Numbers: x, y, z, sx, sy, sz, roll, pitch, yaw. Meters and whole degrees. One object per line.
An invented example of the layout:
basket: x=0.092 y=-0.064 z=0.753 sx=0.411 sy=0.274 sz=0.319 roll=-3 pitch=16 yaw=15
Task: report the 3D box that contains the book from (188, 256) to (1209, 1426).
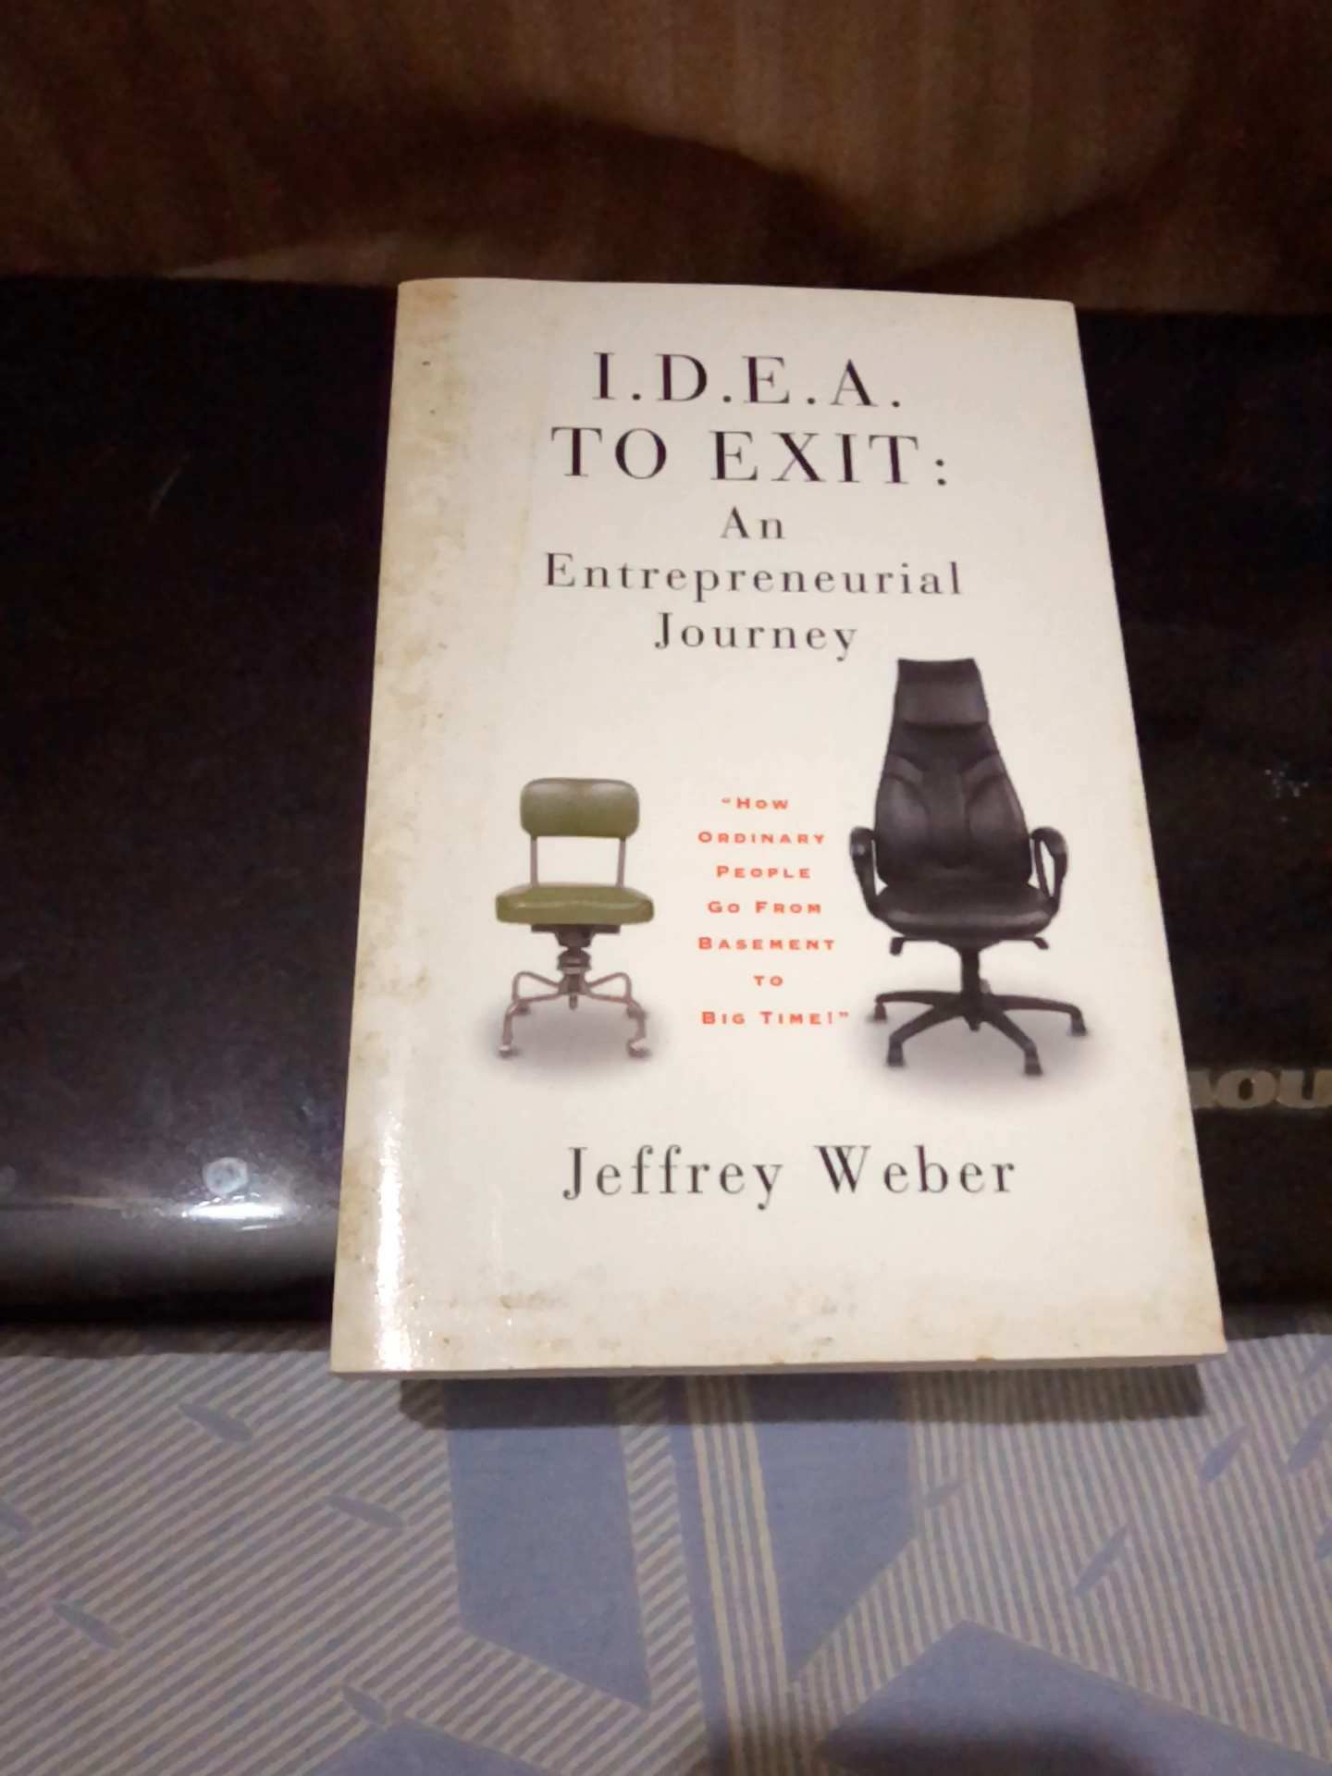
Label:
book: x=0.004 y=-0.023 z=0.296 sx=0.160 sy=0.030 sz=0.240 roll=1 pitch=65 yaw=-4
